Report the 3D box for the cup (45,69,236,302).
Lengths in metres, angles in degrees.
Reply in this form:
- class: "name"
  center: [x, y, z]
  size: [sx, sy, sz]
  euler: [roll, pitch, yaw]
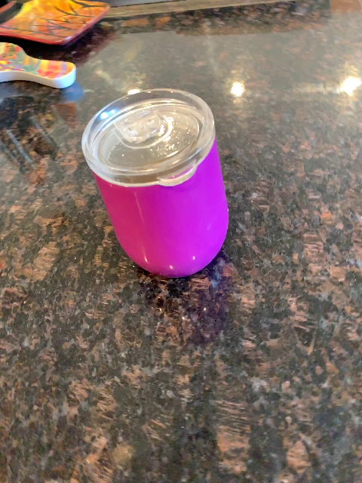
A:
- class: "cup"
  center: [-0.016, -0.031, 0.246]
  size: [0.090, 0.110, 0.090]
  euler: [-5, 51, 6]
